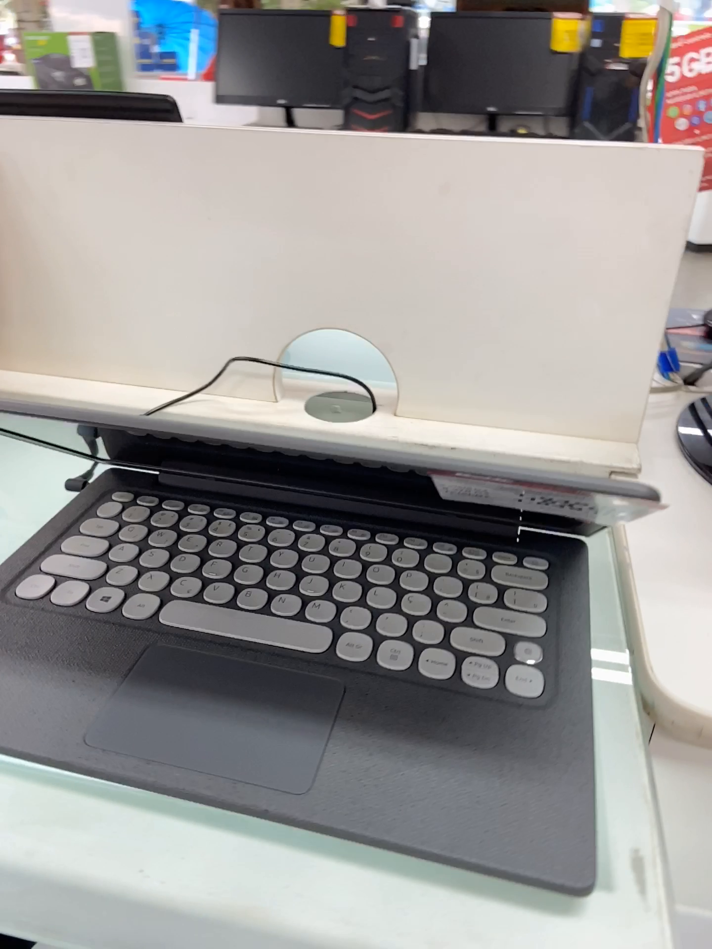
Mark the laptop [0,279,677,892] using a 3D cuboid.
[{"bbox_3d":[-0.043,0.015,0.345,0.316,0.132,0.213,8,31,12],"label":"laptop"}]
